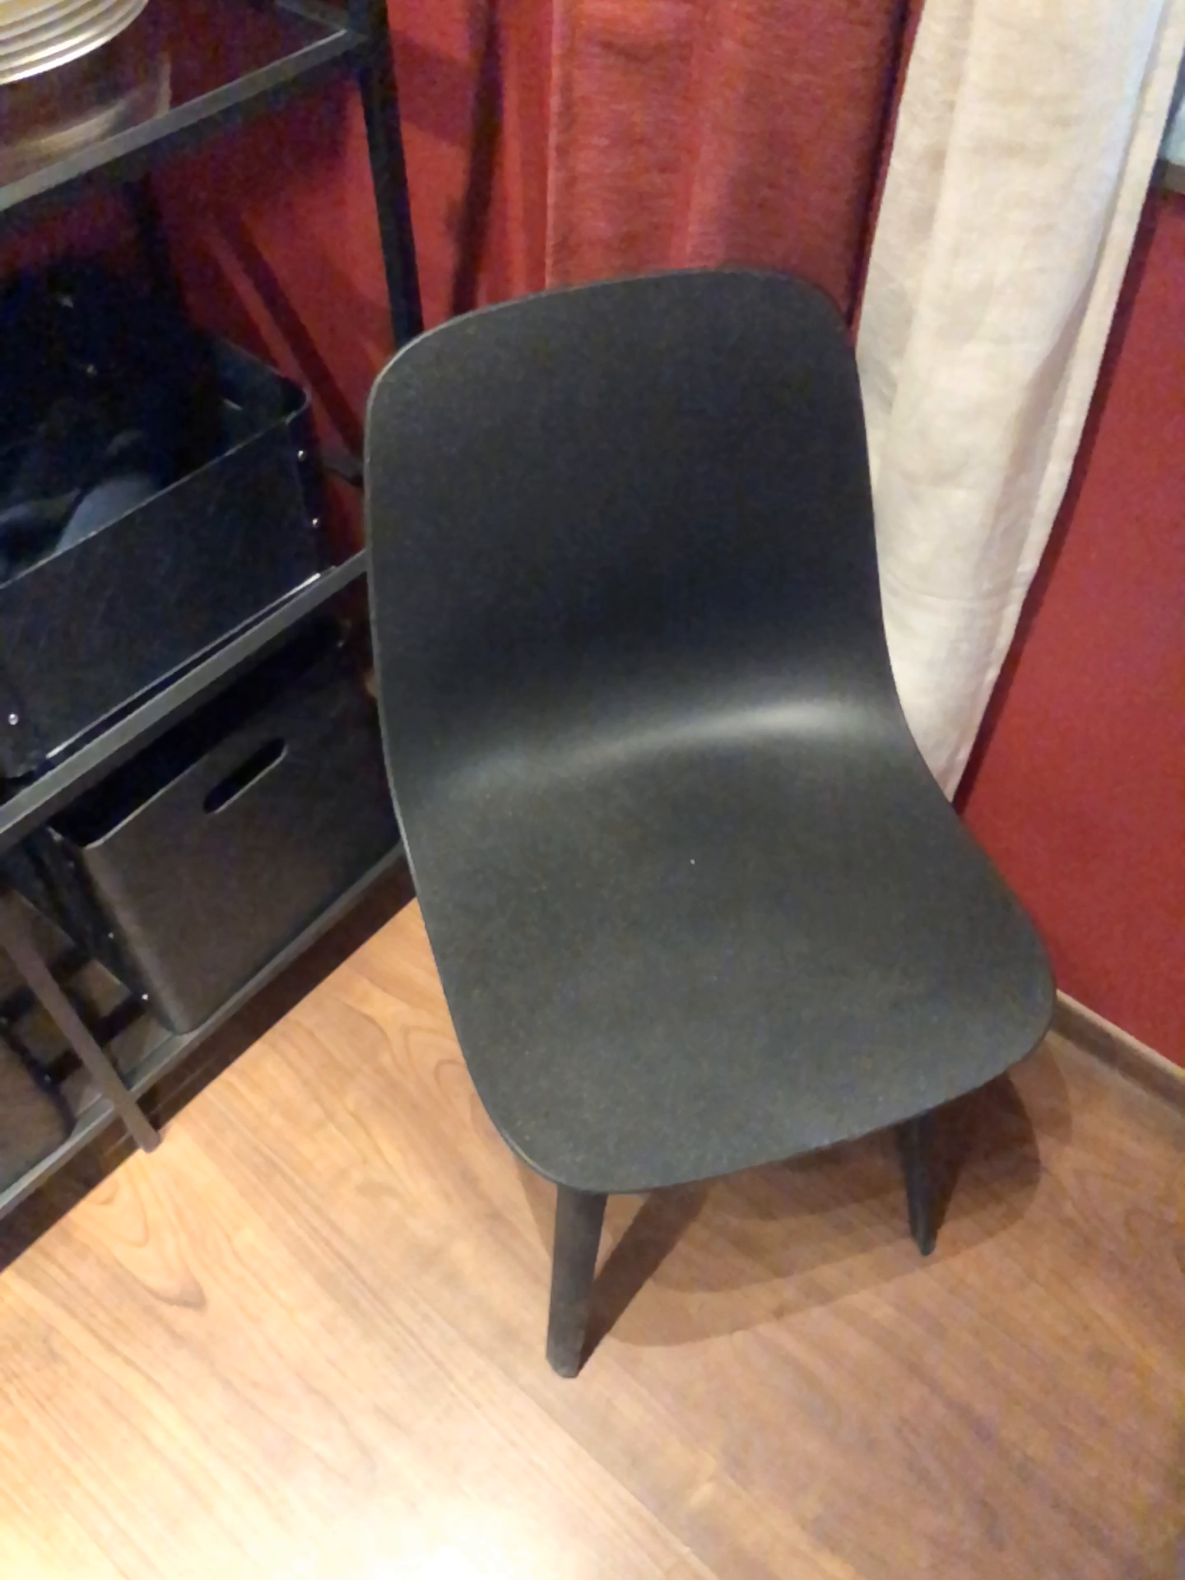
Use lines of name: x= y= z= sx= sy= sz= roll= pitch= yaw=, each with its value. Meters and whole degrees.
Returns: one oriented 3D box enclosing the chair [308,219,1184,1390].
chair: x=0.084 y=0.059 z=1.005 sx=0.410 sy=0.726 sz=0.482 roll=-13 pitch=53 yaw=-11
